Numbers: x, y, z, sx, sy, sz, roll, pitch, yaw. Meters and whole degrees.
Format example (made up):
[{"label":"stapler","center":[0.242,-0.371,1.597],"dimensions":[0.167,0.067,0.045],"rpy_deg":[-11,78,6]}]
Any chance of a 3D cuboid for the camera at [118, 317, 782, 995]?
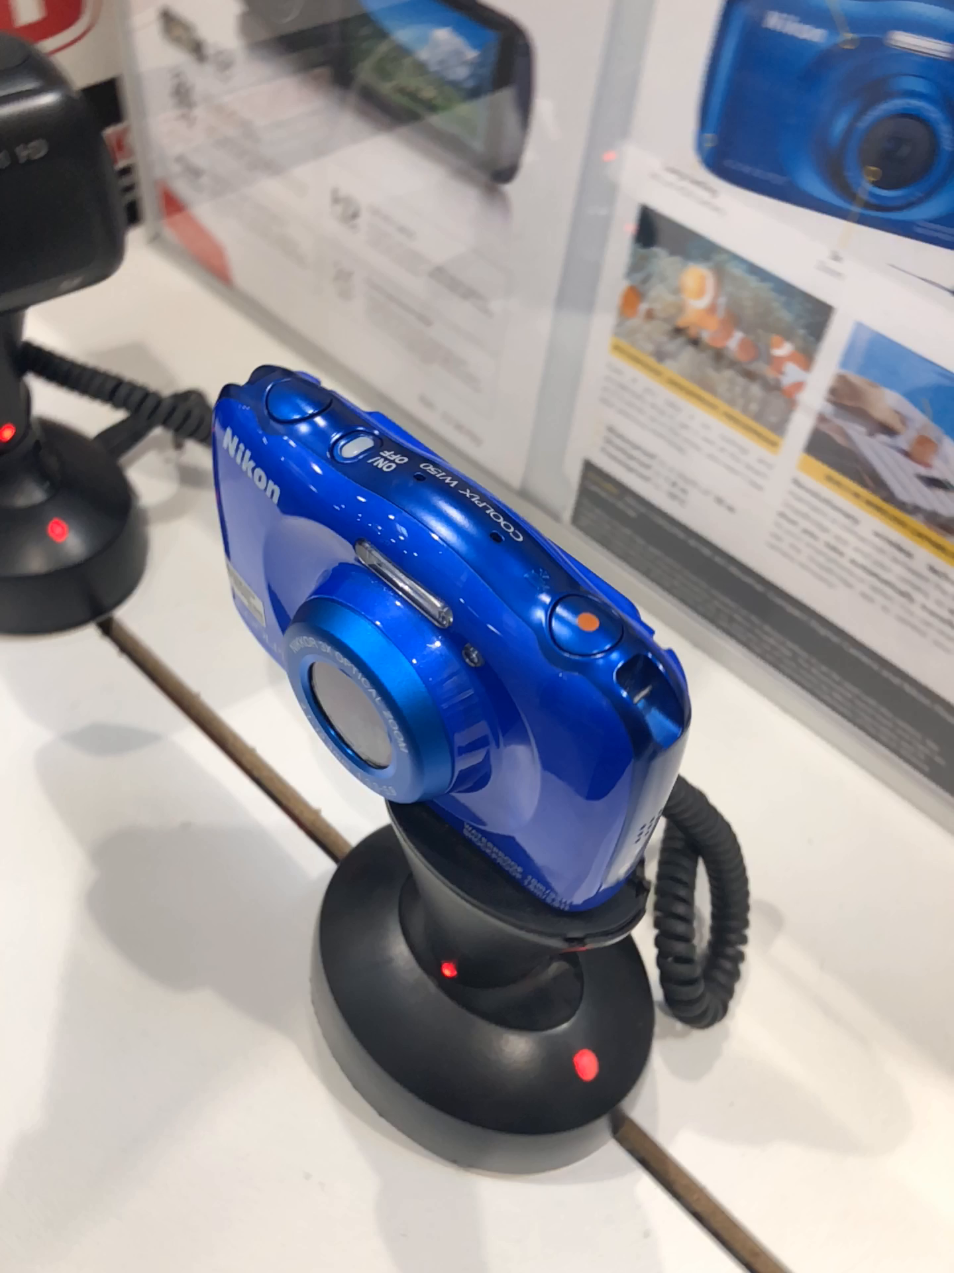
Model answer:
[{"label":"camera","center":[-0.010,0.001,0.183],"dimensions":[0.100,0.060,0.040],"rpy_deg":[38,56,22]}]
